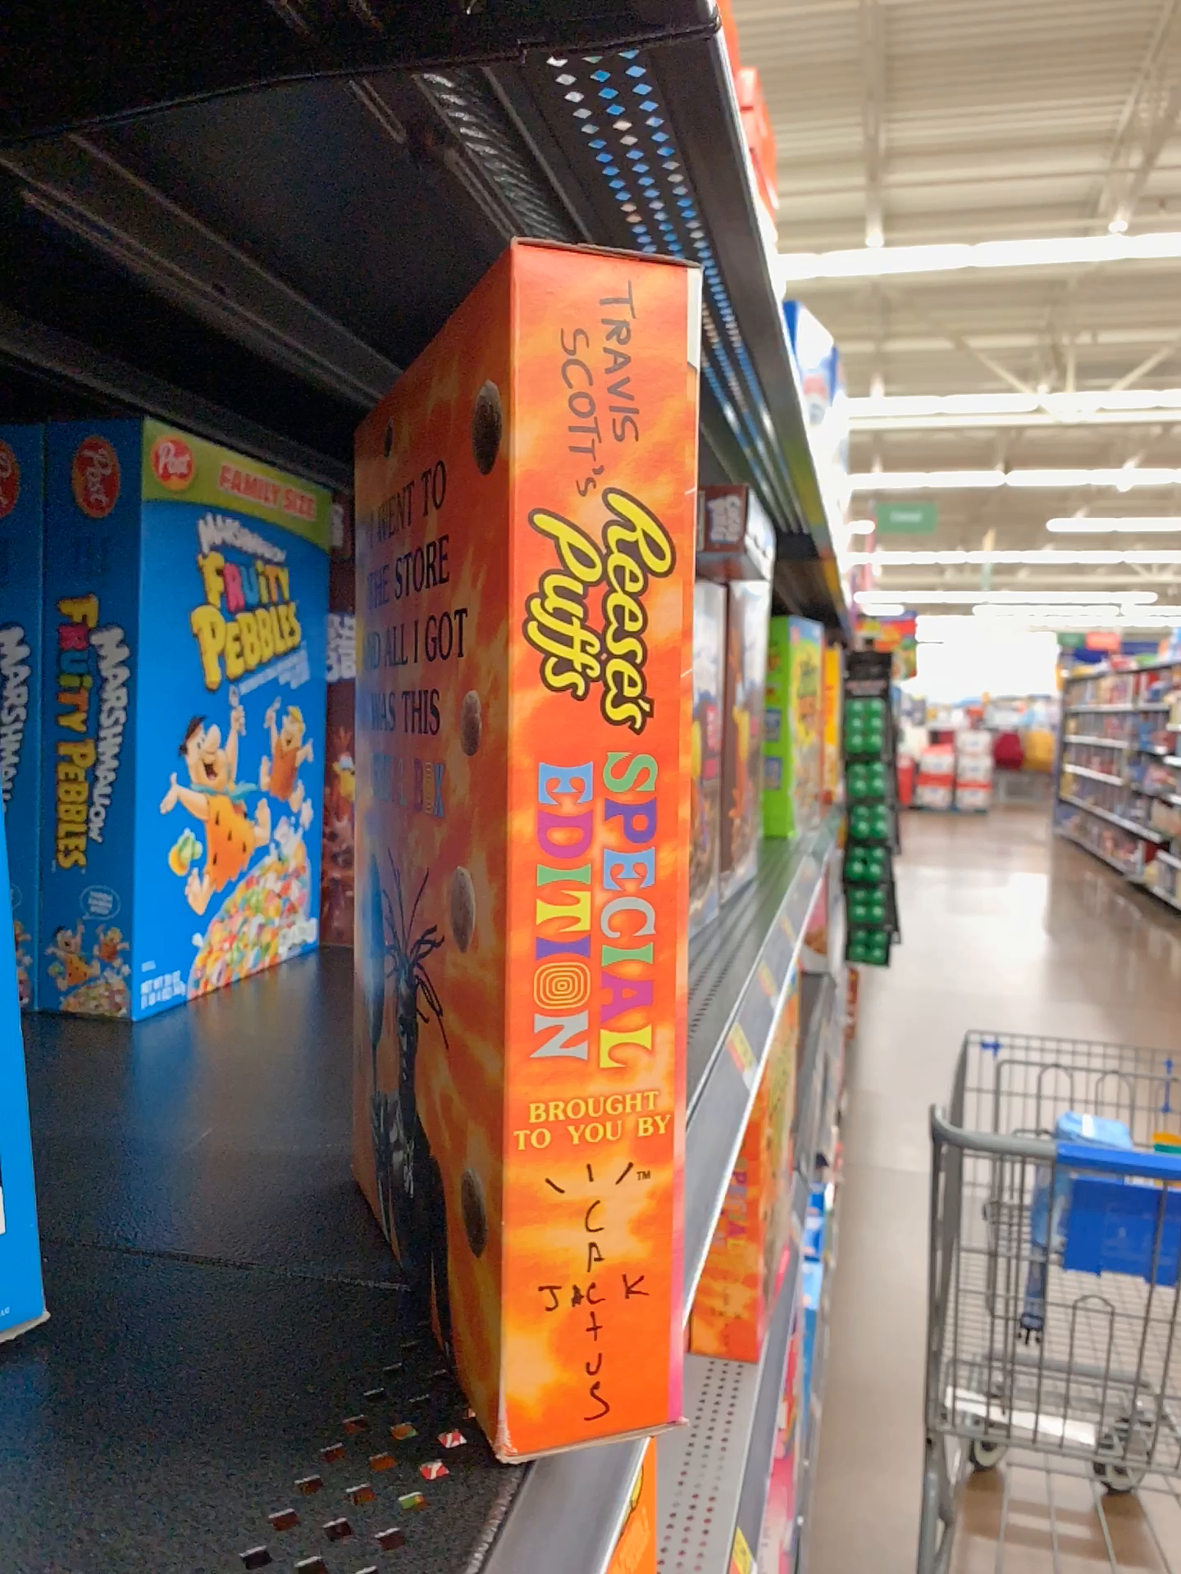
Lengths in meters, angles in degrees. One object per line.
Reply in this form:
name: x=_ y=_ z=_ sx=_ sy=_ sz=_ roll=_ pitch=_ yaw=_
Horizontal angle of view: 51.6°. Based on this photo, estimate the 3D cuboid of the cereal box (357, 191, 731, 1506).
cereal box: x=-0.027 y=0.010 z=0.370 sx=0.050 sy=0.290 sz=0.200 roll=-1 pitch=4 yaw=-20
